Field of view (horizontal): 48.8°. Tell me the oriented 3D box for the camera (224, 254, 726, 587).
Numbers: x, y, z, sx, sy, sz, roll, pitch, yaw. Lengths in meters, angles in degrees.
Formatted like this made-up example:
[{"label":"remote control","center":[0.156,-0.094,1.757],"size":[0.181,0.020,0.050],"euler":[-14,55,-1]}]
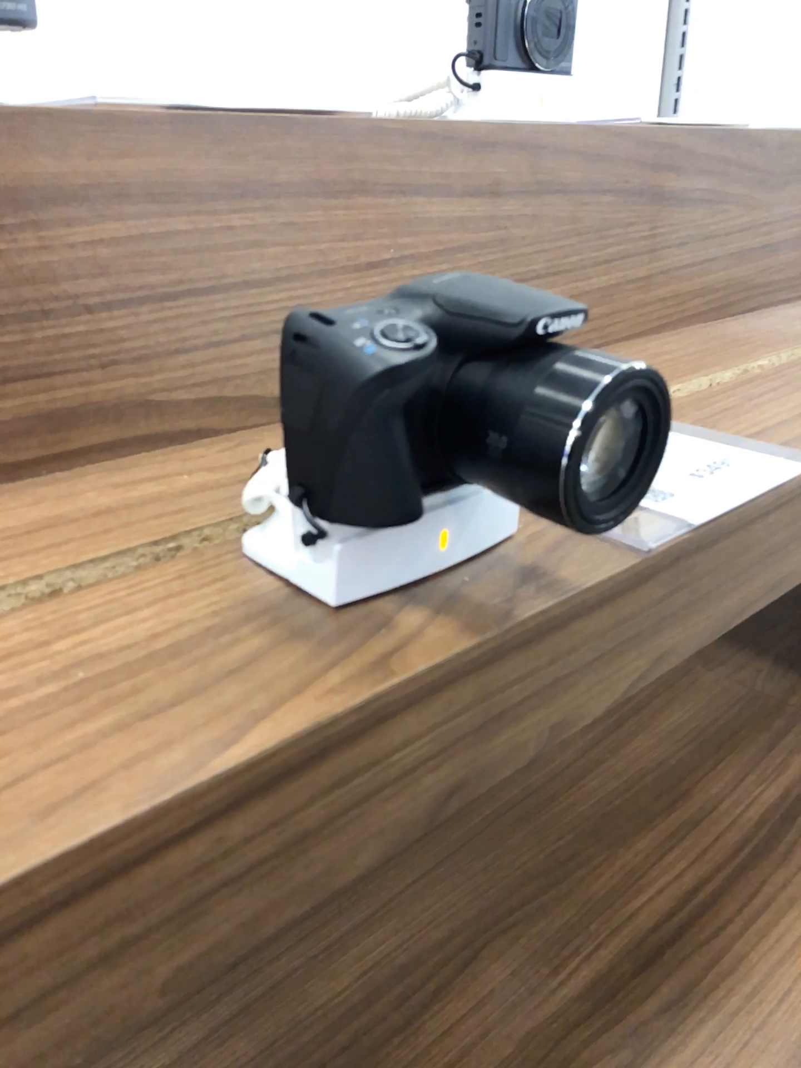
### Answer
[{"label":"camera","center":[0.023,-0.048,0.287],"size":[0.110,0.070,0.110],"euler":[20,30,41]}]
